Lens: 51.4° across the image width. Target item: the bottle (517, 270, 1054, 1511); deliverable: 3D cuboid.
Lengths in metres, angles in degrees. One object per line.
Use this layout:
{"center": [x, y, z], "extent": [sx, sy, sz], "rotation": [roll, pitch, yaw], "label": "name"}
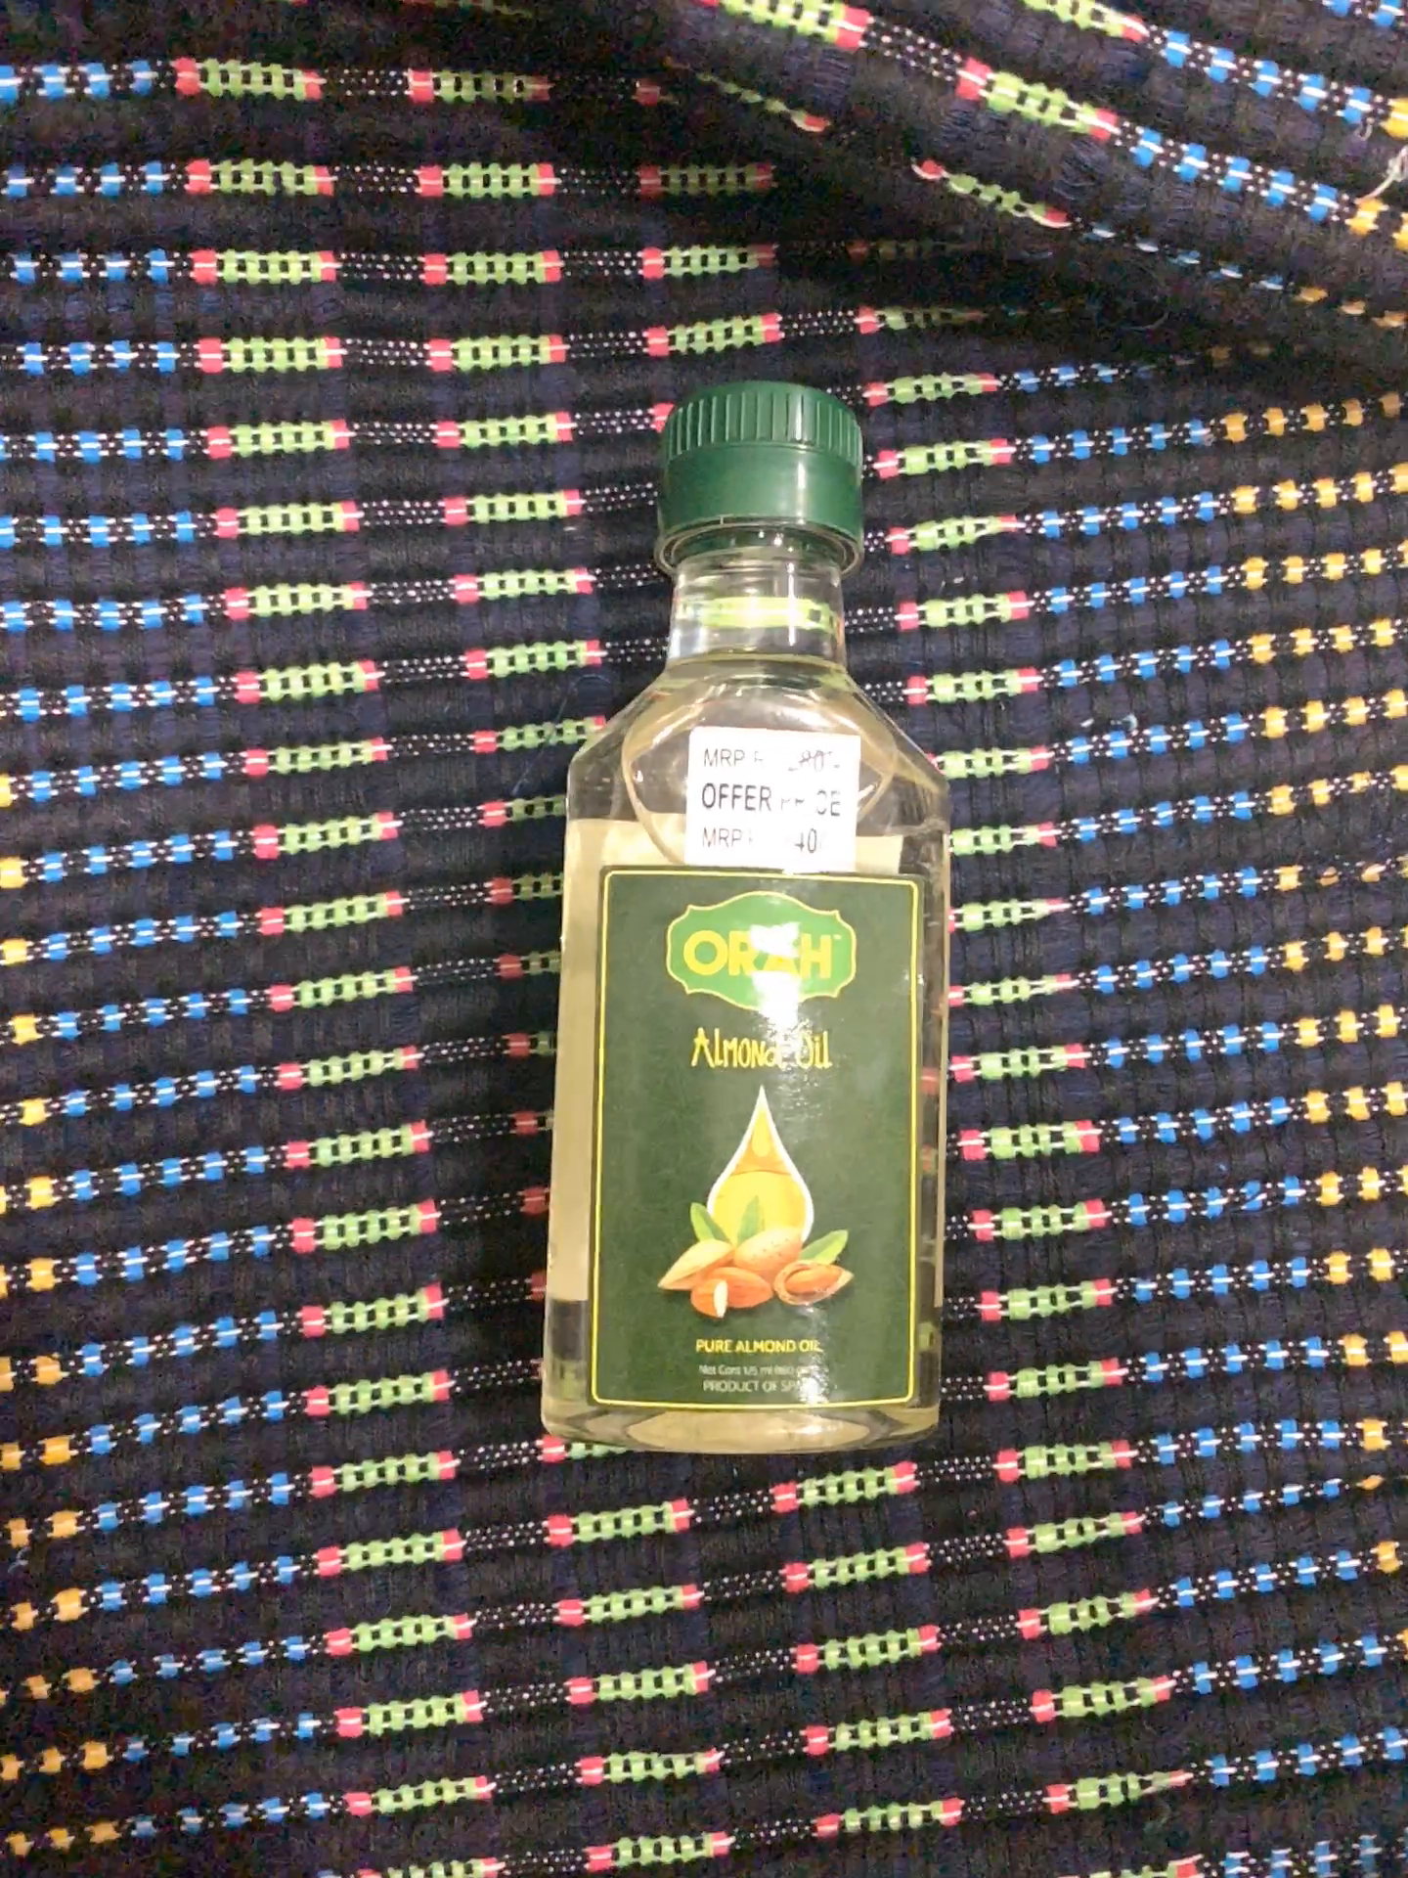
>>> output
{"center": [0.011, -0.007, 0.194], "extent": [0.060, 0.030, 0.150], "rotation": [3, 83, -5], "label": "bottle"}
